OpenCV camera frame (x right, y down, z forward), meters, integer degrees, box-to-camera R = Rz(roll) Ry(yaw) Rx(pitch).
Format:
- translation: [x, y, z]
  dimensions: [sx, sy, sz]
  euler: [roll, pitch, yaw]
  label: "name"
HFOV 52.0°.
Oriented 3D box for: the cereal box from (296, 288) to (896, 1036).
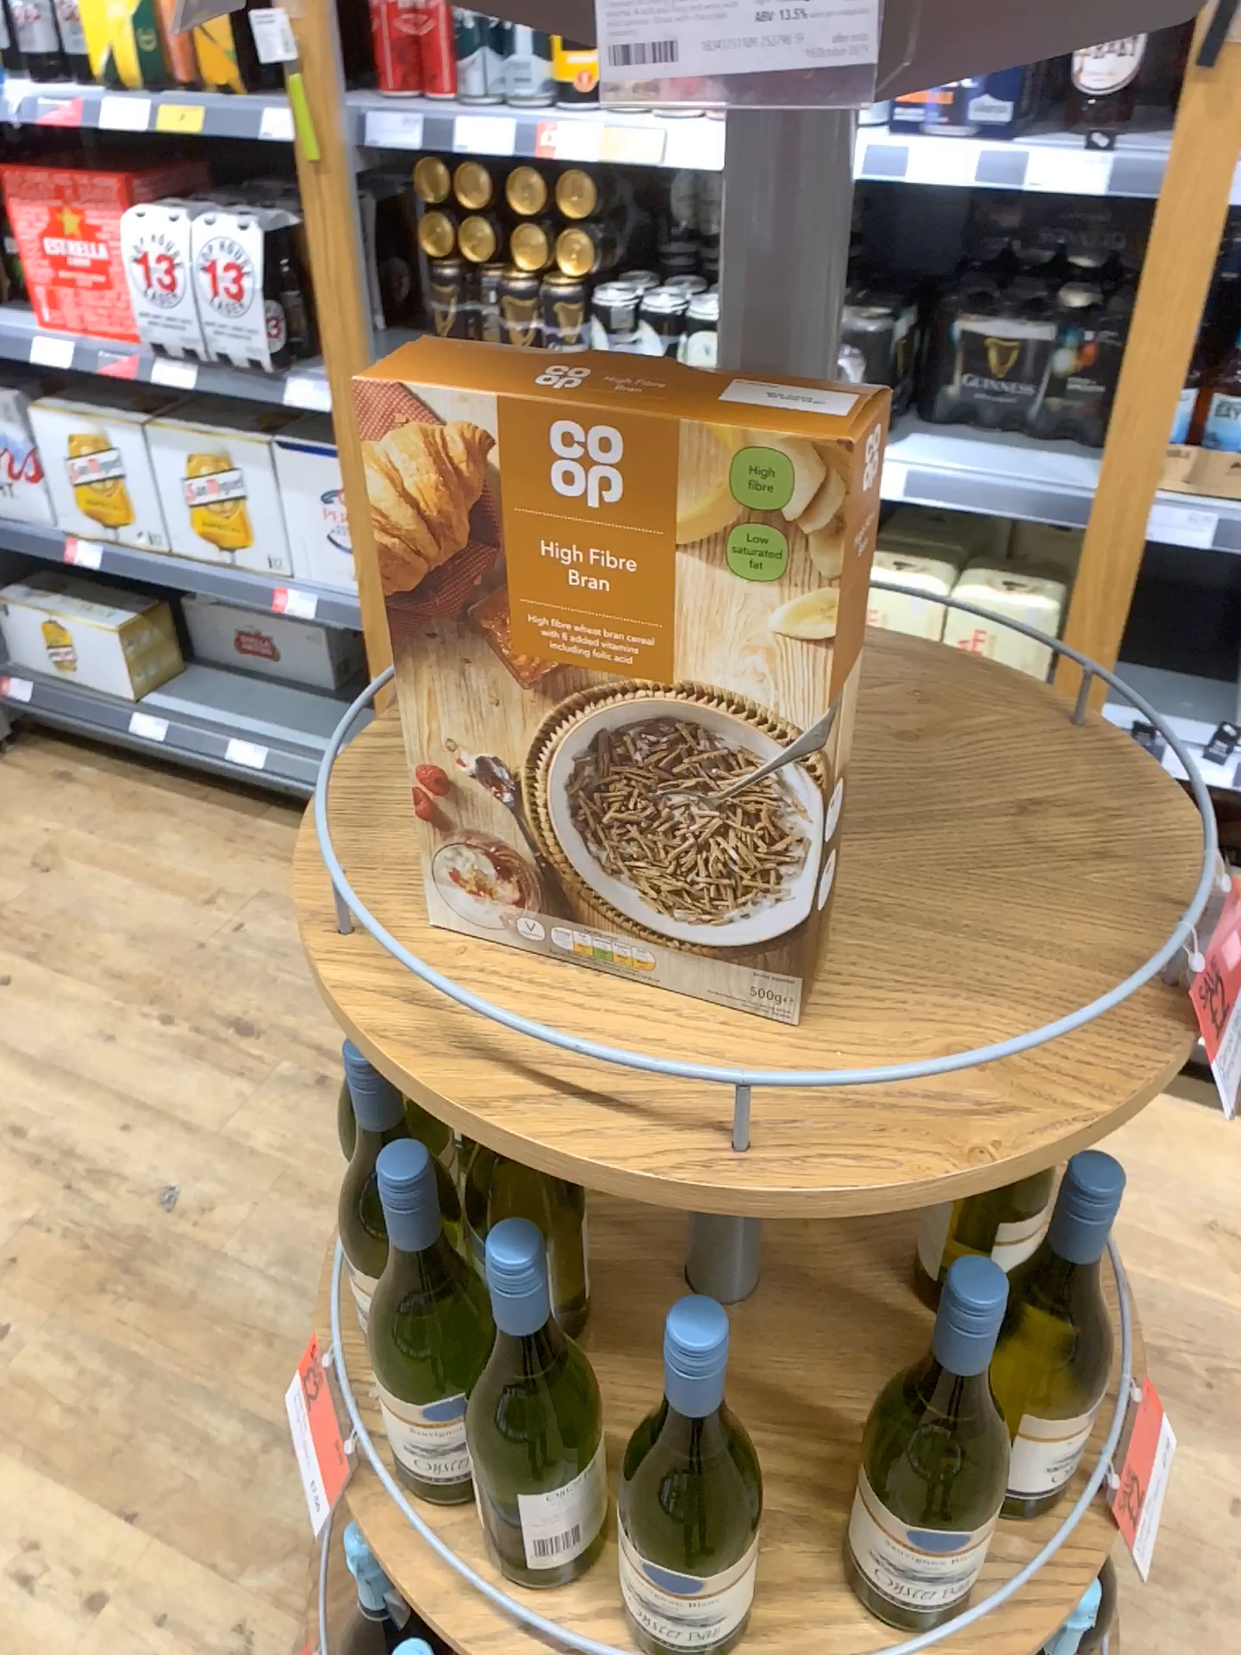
- translation: [-0.008, -0.059, 0.523]
  dimensions: [0.200, 0.277, 0.061]
  euler: [13, 39, 18]
  label: "cereal box"
